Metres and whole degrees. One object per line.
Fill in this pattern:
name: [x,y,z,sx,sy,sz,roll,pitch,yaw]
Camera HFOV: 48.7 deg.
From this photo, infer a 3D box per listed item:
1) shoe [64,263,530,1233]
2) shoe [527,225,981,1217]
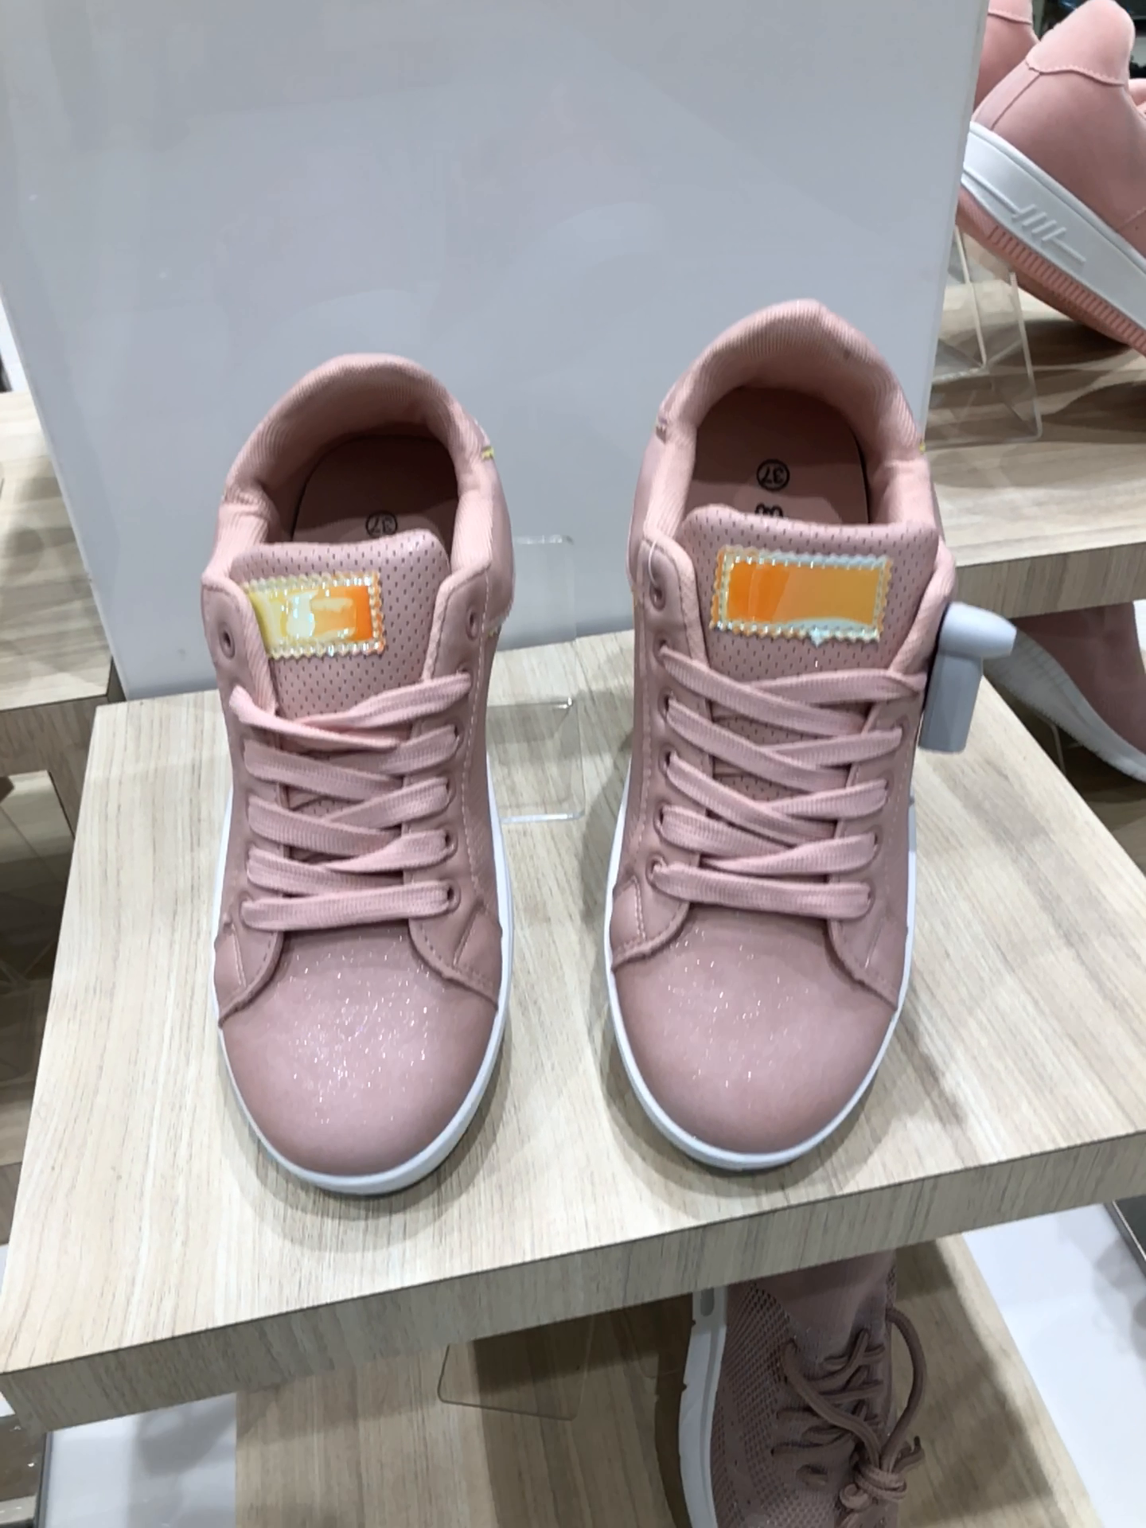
shoe: [-0.068,-0.004,0.369,0.103,0.093,0.253,-1,77,2]
shoe: [0.056,-0.014,0.375,0.099,0.093,0.262,5,75,6]
